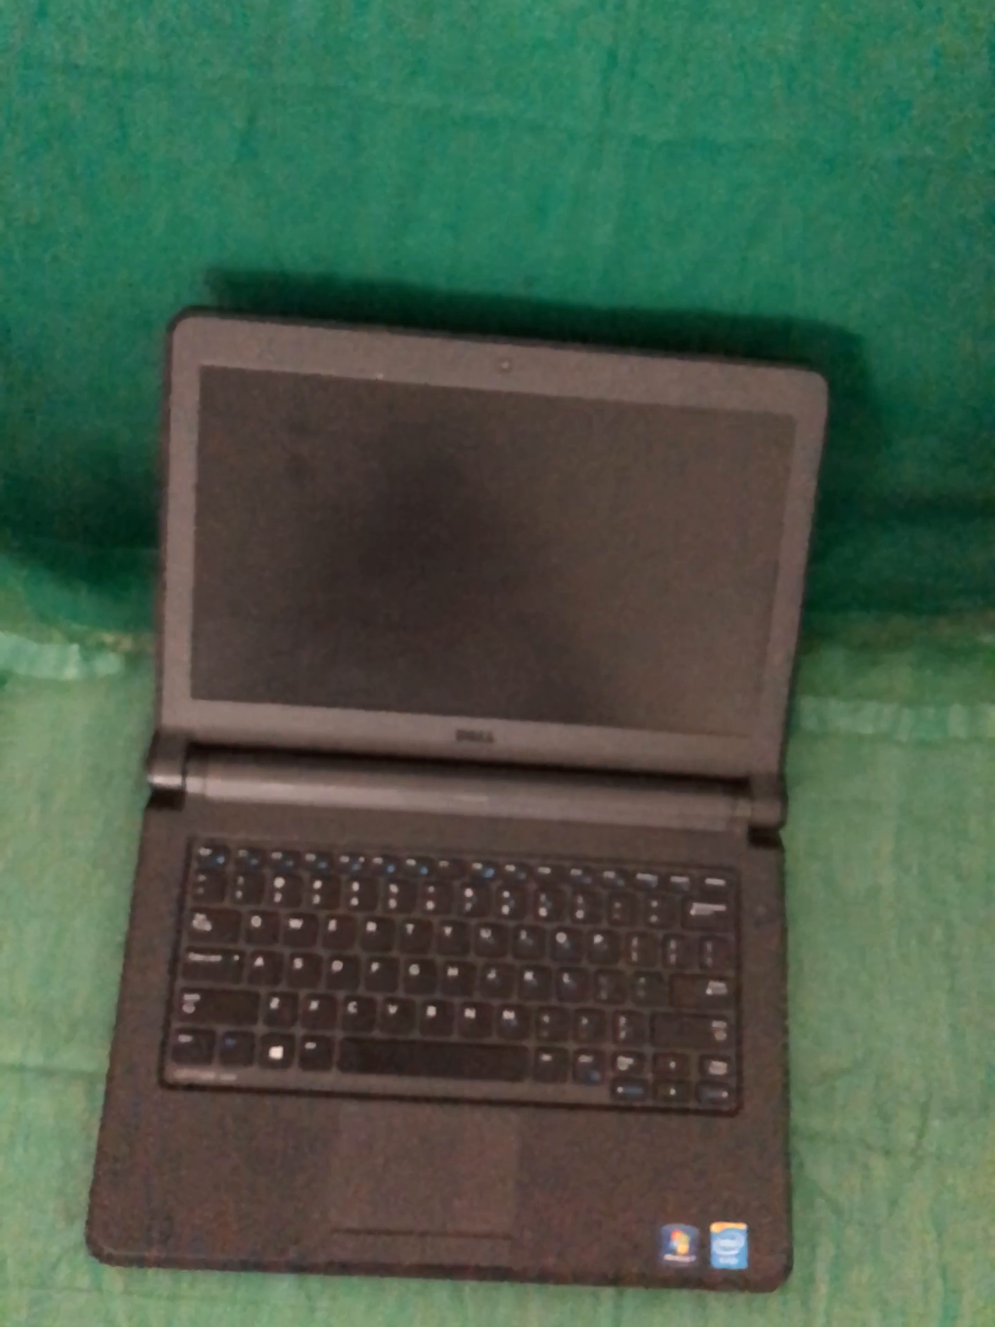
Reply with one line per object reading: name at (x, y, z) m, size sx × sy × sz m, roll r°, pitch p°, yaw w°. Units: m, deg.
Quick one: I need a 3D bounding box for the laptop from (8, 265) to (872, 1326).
laptop at (-0.009, 0.052, 0.495) m, size 0.311 × 0.096 × 0.420 m, roll 4°, pitch 75°, yaw -3°
